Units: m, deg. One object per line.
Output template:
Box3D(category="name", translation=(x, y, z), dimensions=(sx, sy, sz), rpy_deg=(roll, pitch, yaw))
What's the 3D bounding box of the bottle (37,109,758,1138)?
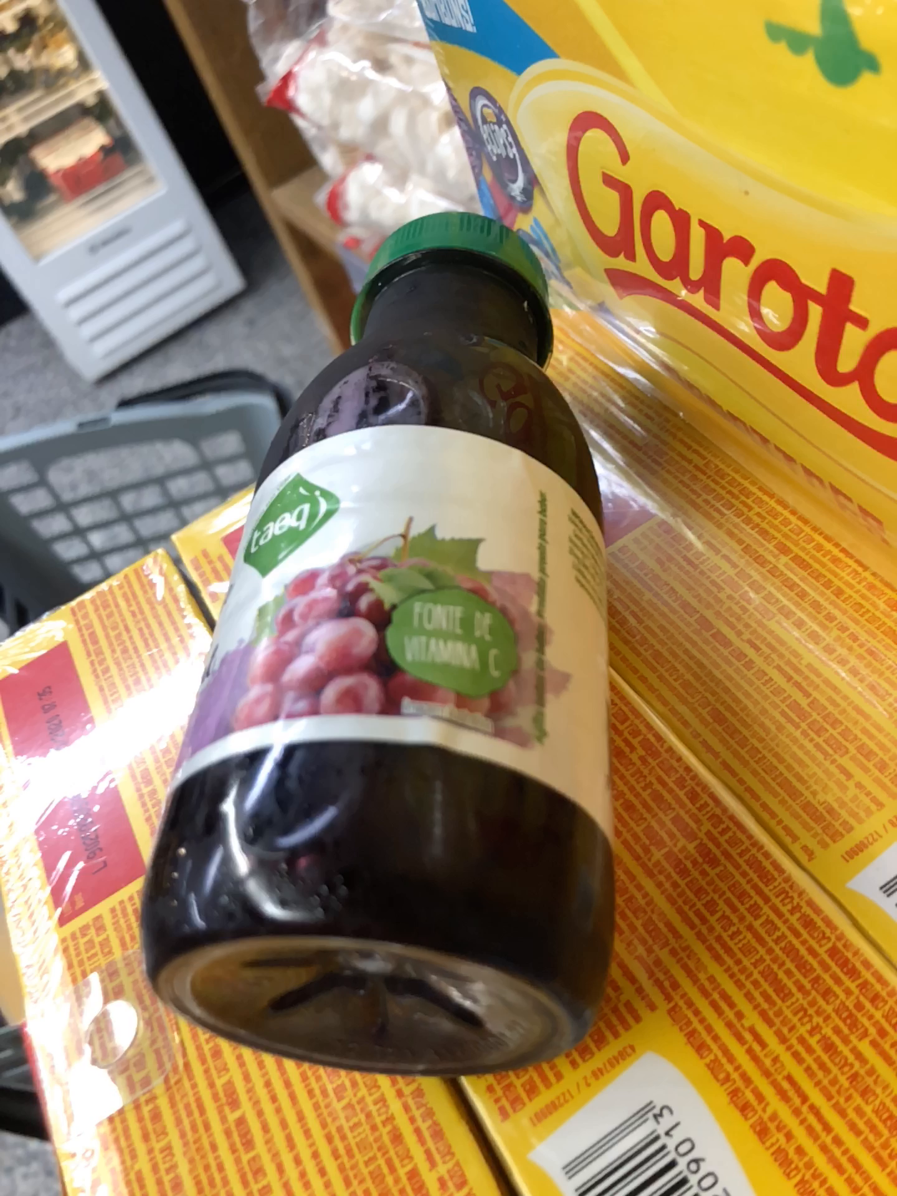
Box3D(category="bottle", translation=(0.005, -0.011, 0.170), dimensions=(0.070, 0.050, 0.171), rpy_deg=(-8, 48, 17))
